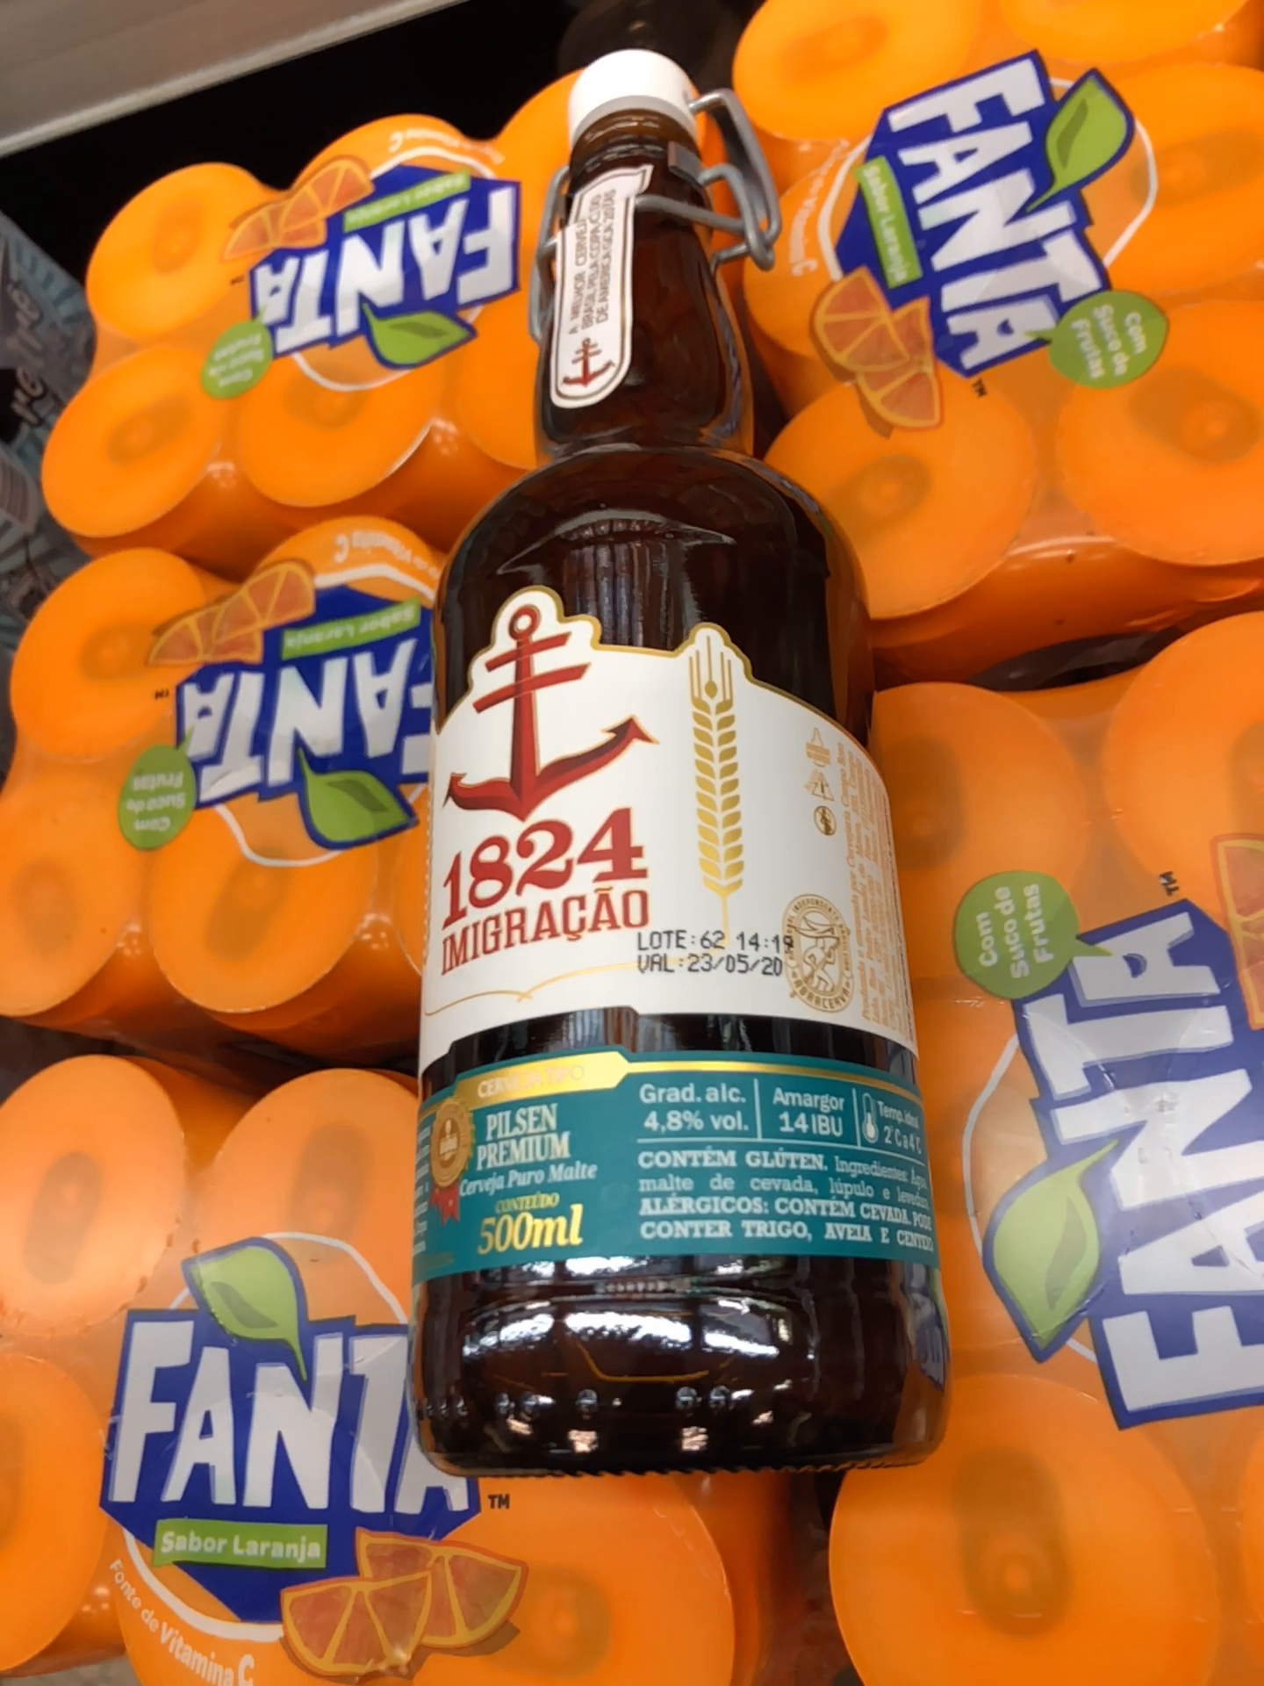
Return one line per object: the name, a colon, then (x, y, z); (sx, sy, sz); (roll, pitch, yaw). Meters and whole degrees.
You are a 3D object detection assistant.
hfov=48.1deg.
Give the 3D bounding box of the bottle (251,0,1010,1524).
bottle: (-0.003, -0.038, 0.216); (0.080, 0.050, 0.251); (-10, 68, 17)
